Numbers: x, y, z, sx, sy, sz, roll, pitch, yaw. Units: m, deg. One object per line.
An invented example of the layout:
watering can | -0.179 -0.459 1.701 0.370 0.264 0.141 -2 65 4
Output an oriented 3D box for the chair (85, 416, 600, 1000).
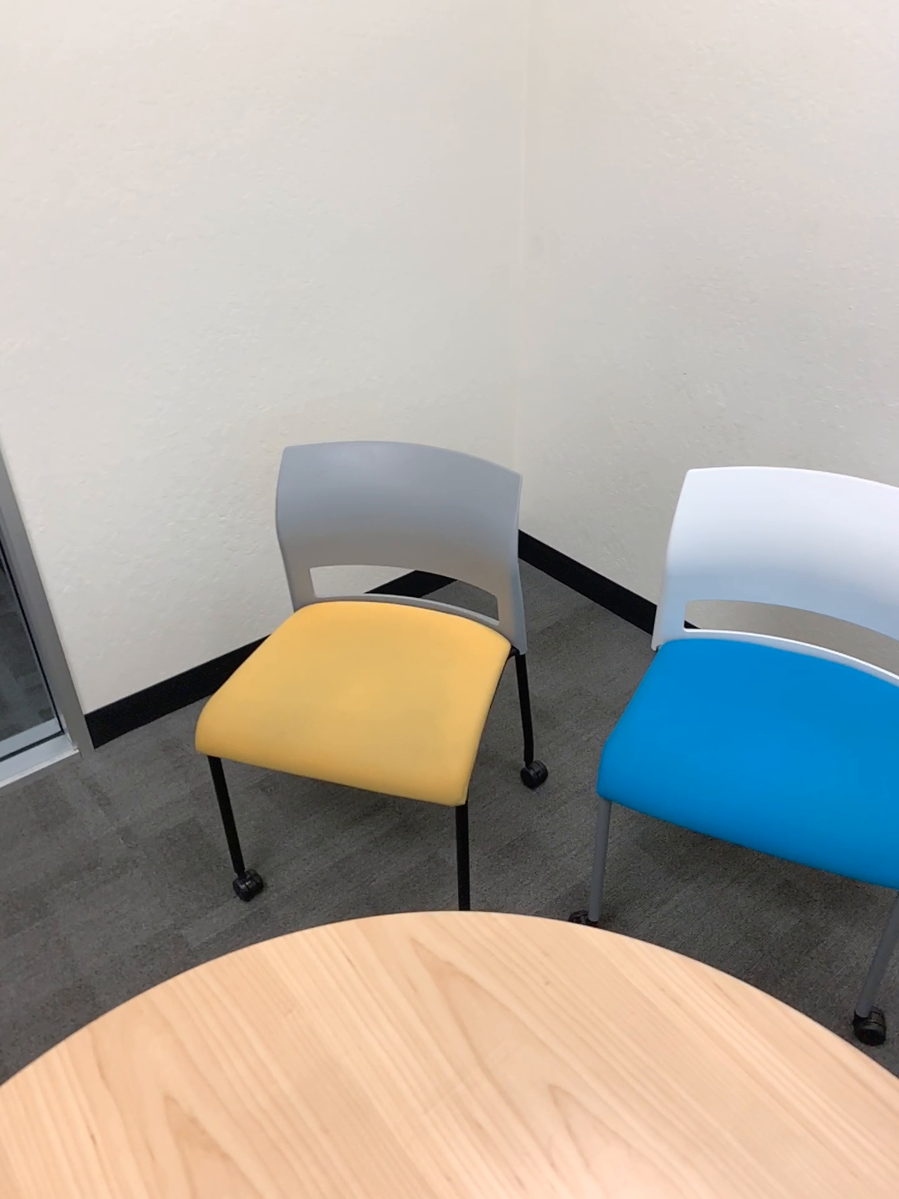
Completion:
chair | -0.119 0.155 1.732 0.641 0.716 0.693 9 35 16

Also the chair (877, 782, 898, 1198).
chair | 1.020 0.755 0.882 0.690 0.765 0.755 -4 34 -4

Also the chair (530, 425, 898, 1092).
chair | 0.581 0.222 1.629 0.641 0.755 0.693 14 37 22
